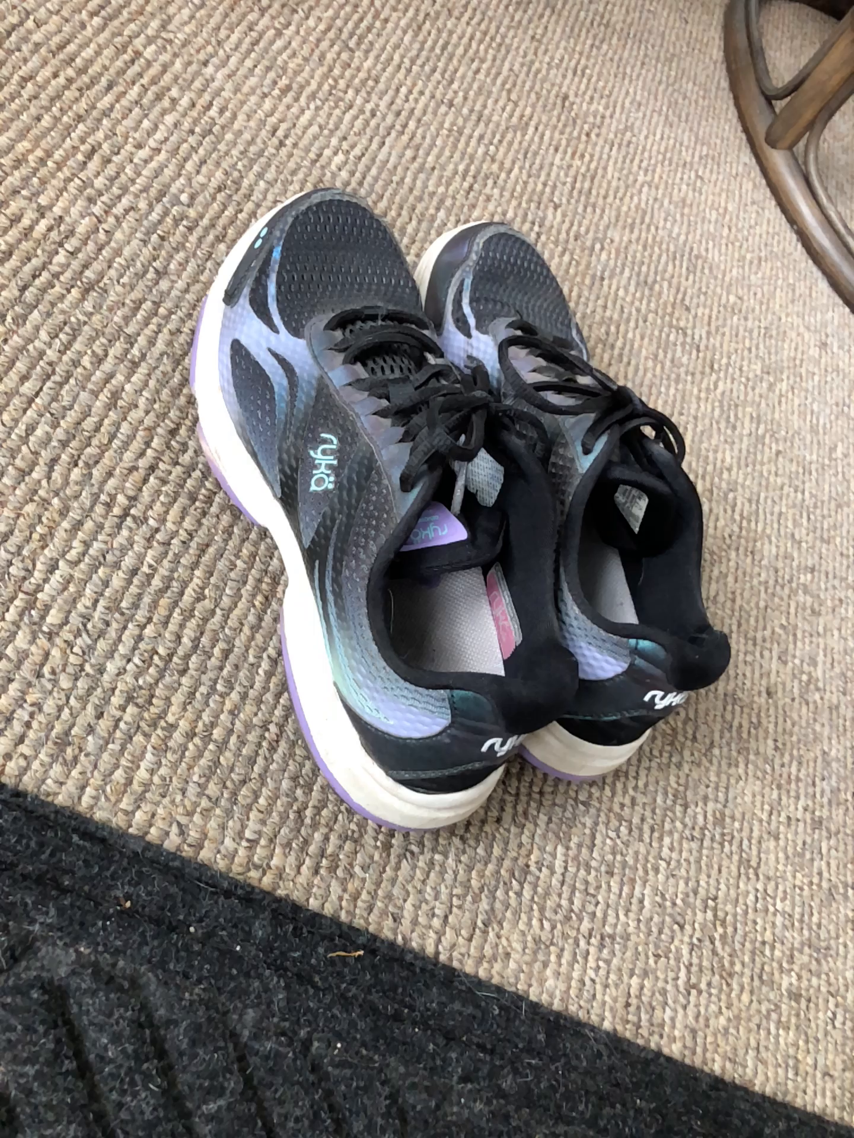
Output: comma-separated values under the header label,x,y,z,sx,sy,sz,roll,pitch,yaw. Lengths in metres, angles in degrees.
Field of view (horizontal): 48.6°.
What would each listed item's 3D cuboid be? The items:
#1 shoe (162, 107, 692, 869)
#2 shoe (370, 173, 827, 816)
label,x,y,z,sx,sy,sz,roll,pitch,yaw
shoe,-0.011,-0.031,0.376,0.110,0.103,0.256,-3,70,-37
shoe,0.067,-0.032,0.435,0.103,0.103,0.257,1,67,-36
